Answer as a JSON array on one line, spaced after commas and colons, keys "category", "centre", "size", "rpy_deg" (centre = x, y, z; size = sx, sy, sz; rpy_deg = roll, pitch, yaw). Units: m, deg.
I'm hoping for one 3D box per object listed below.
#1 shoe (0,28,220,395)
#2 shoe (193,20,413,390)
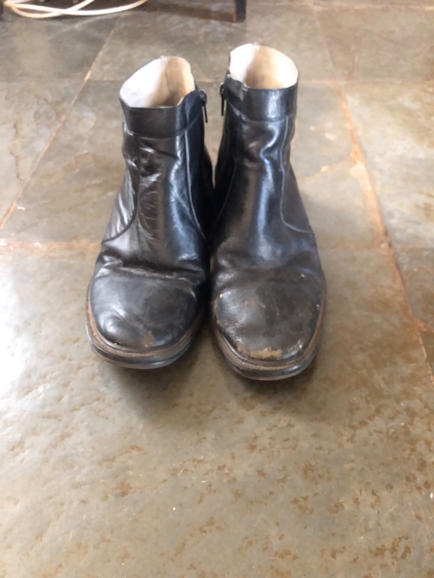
[{"category": "shoe", "centre": [-0.055, -0.073, 0.372], "size": [0.100, 0.159, 0.252], "rpy_deg": [2, 45, 3]}, {"category": "shoe", "centre": [0.036, -0.077, 0.368], "size": [0.100, 0.159, 0.252], "rpy_deg": [-2, 45, -1]}]
